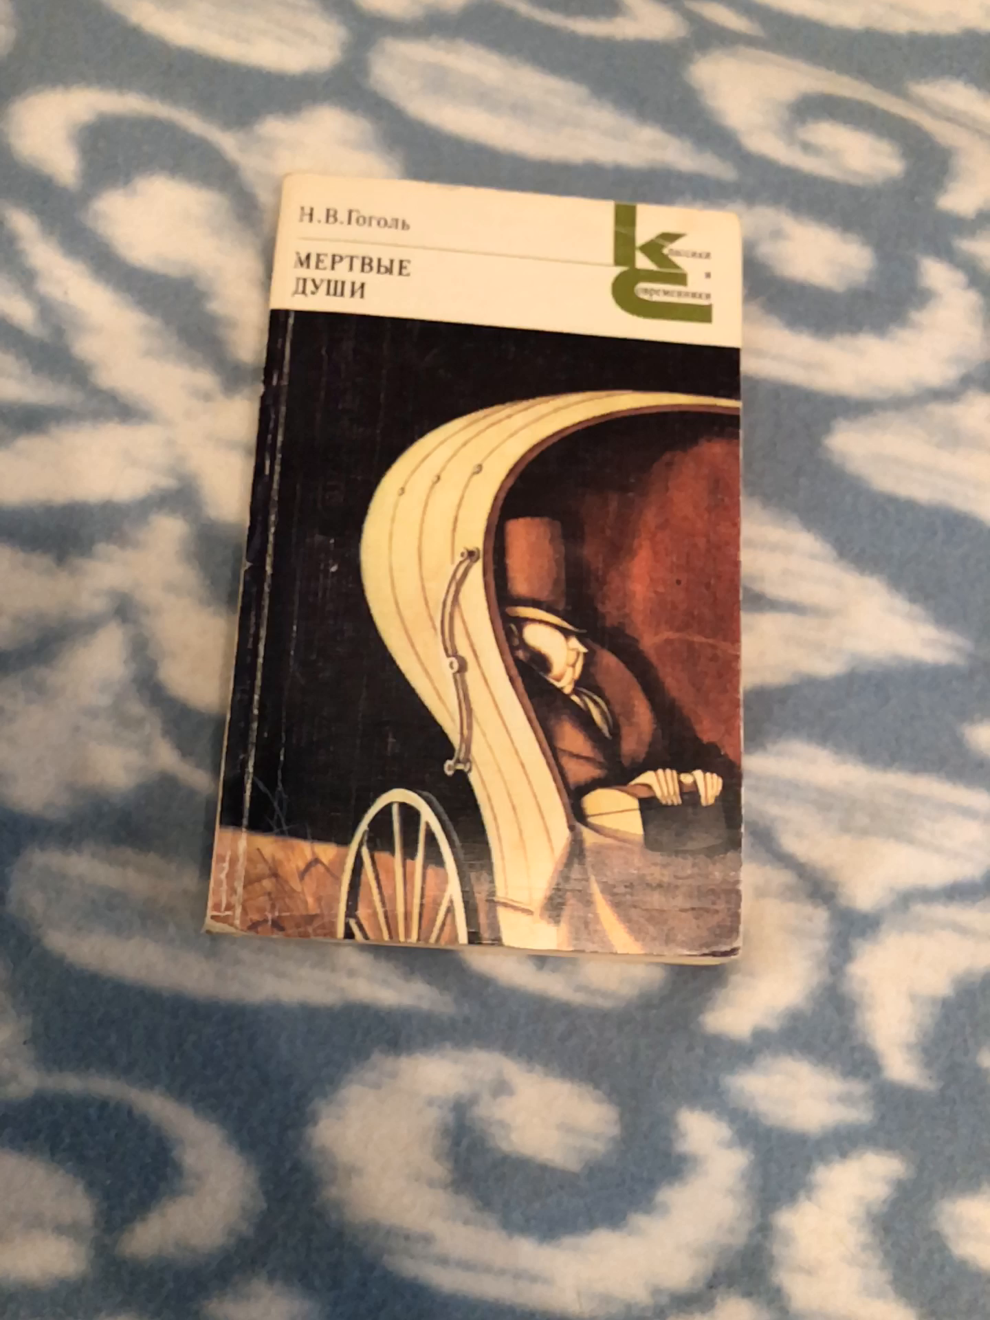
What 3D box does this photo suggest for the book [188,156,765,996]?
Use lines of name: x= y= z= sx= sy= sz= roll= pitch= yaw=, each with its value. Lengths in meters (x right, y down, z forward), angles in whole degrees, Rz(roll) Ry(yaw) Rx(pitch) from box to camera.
book: x=0.001 y=-0.024 z=0.274 sx=0.125 sy=0.025 sz=0.199 roll=4 pitch=77 yaw=-5
